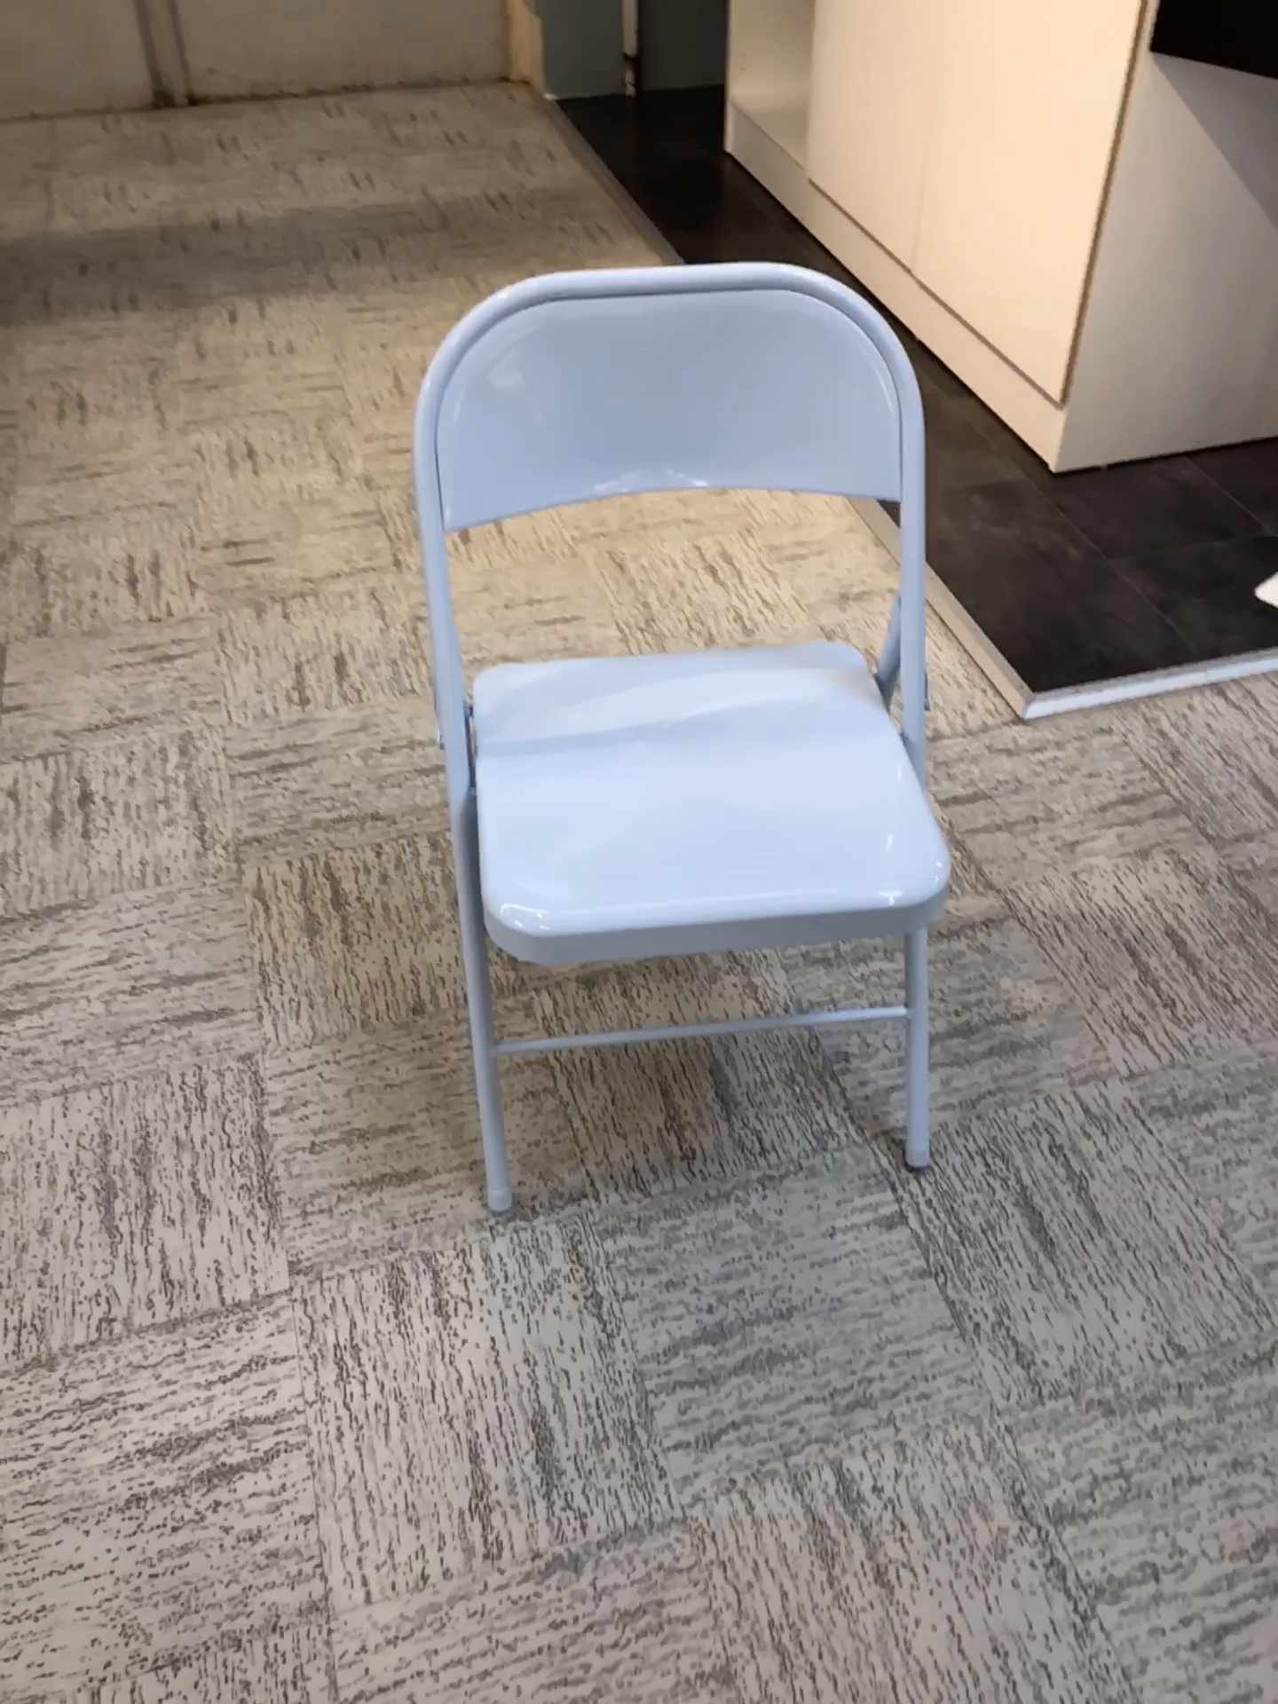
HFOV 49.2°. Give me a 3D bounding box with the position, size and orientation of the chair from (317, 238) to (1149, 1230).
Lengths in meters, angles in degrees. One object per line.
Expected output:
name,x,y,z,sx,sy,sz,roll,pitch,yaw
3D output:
chair,0.036,-0.091,1.260,0.510,0.706,0.483,-5,43,-5
